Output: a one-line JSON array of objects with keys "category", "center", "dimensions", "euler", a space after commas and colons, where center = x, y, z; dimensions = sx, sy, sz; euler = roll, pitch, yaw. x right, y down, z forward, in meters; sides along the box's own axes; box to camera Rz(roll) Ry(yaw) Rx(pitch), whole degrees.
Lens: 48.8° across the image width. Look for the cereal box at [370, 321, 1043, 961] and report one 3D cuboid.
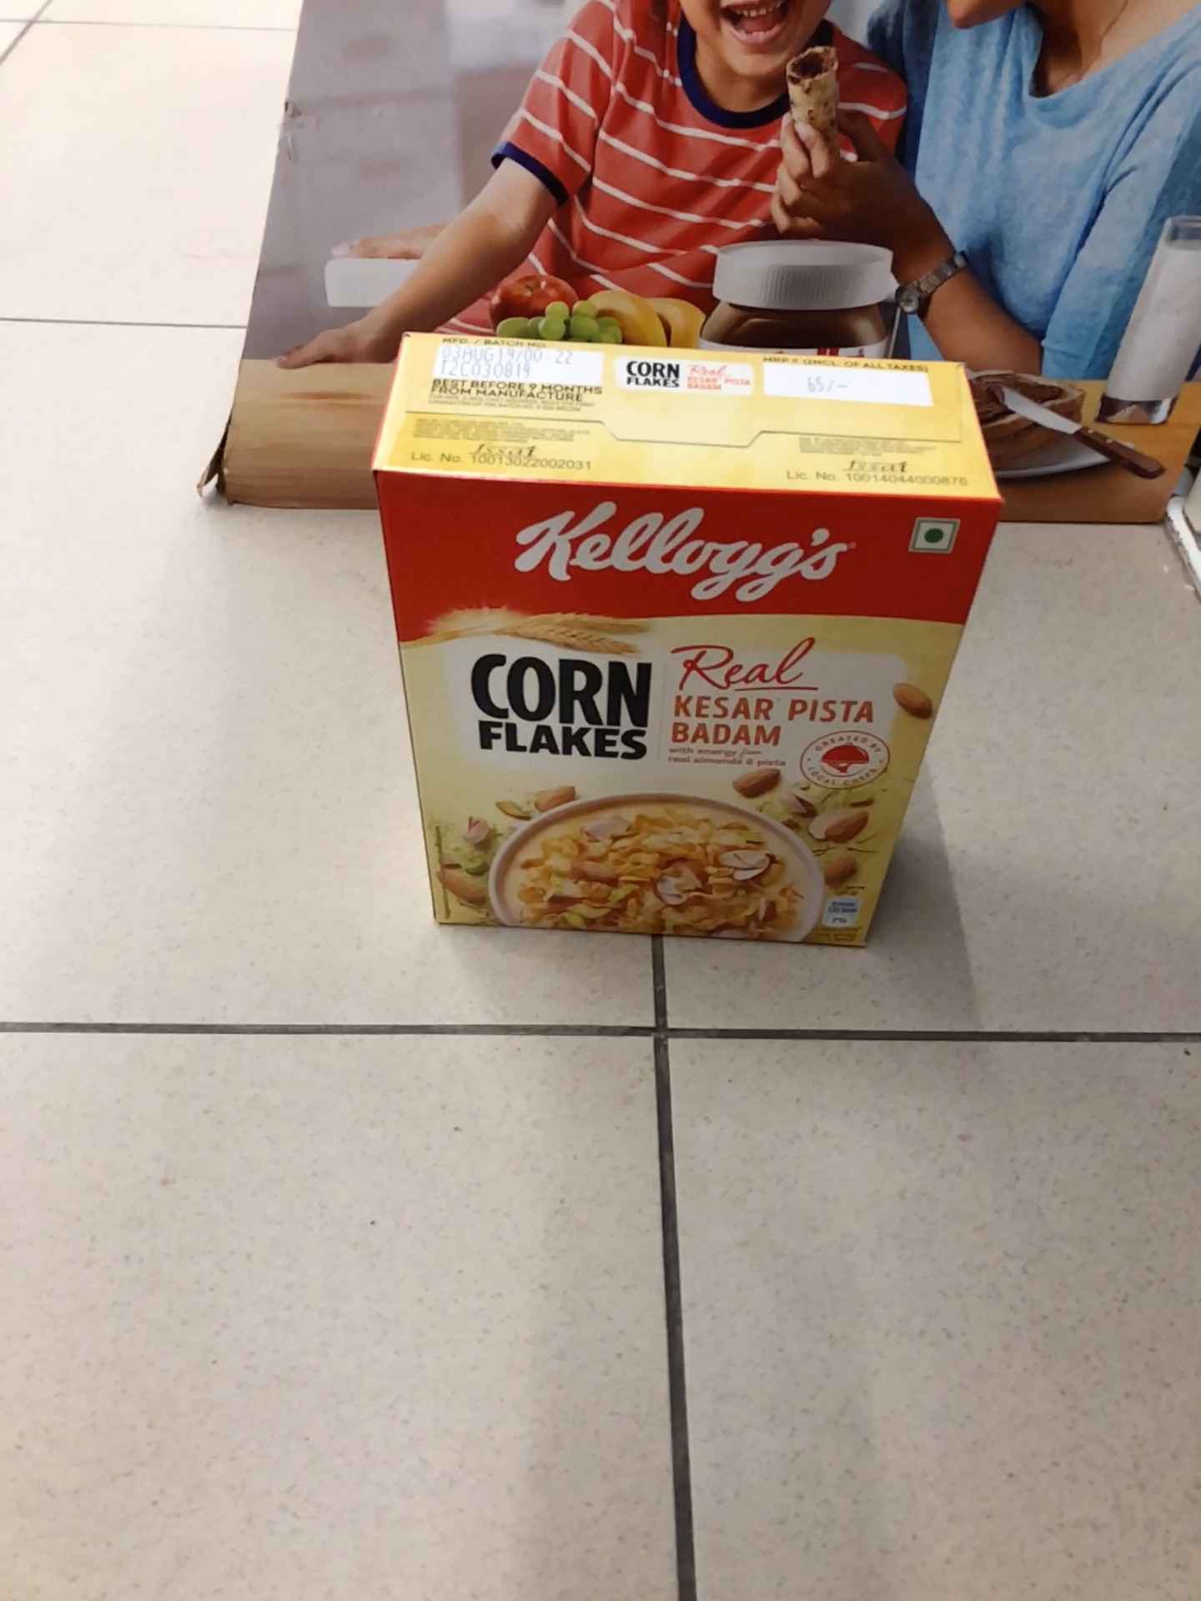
[{"category": "cereal box", "center": [0.019, -0.032, 0.358], "dimensions": [0.140, 0.169, 0.060], "euler": [2, 48, -2]}]
